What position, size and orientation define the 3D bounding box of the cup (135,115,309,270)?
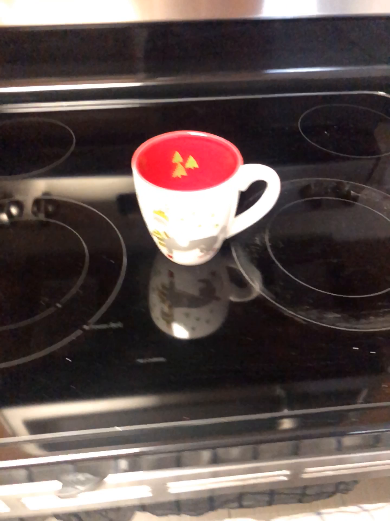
[{"bbox_3d":[0.018,-0.067,0.423,0.140,0.100,0.100,-5,46,-5],"label":"cup"}]
